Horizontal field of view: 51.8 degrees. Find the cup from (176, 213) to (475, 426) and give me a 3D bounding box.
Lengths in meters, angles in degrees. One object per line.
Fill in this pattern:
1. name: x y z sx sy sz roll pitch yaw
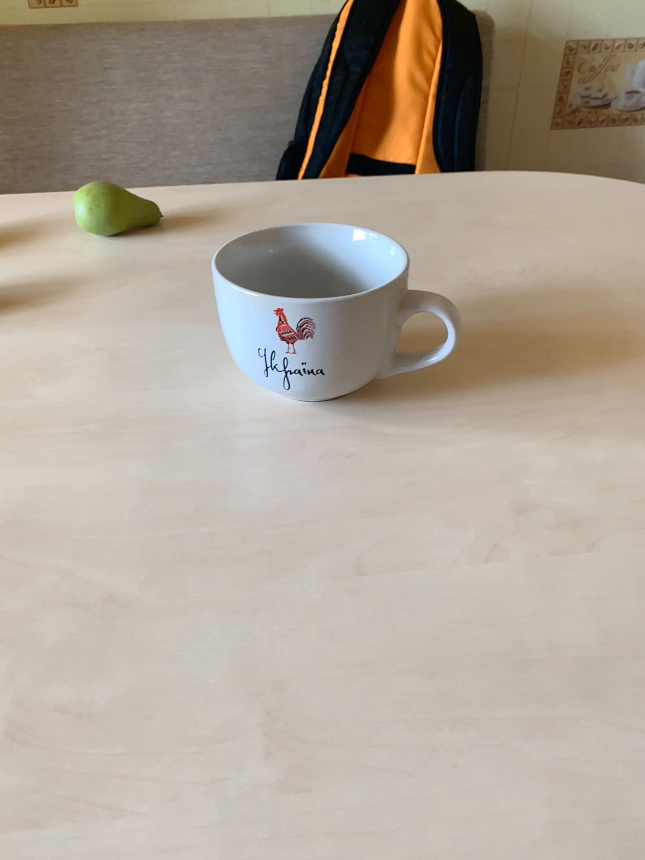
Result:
1. cup: 0.007 -0.066 0.358 0.130 0.060 0.100 10 38 14
